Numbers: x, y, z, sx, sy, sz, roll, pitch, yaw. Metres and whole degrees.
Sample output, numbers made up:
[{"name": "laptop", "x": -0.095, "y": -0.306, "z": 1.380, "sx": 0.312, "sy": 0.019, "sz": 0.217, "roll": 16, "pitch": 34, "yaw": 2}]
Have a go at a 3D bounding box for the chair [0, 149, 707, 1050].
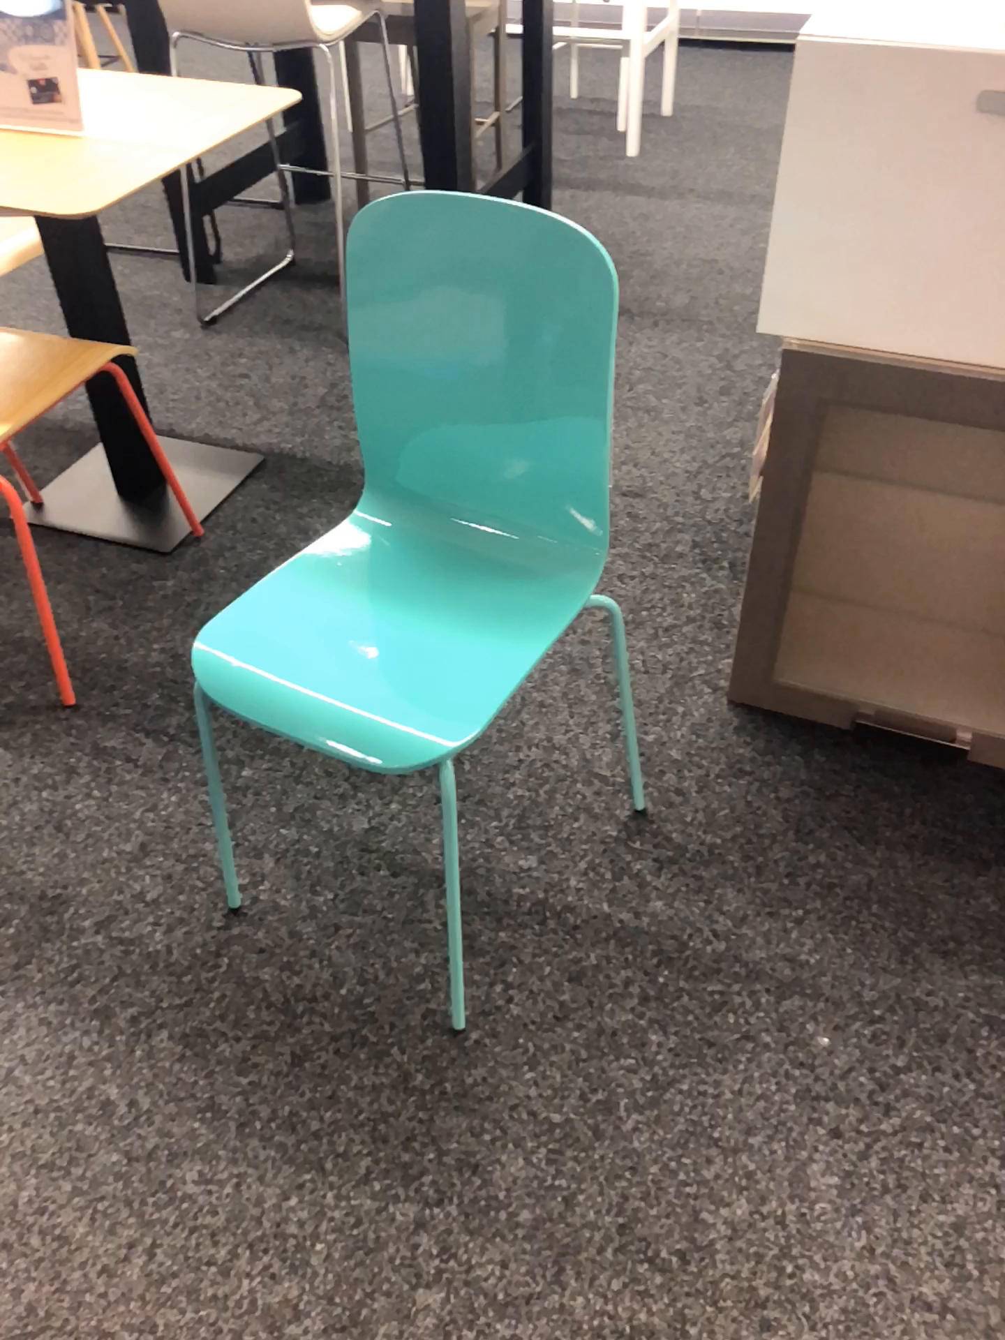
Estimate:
[{"name": "chair", "x": -0.120, "y": -0.075, "z": 1.338, "sx": 0.490, "sy": 0.865, "sz": 0.503, "roll": 20, "pitch": 46, "yaw": 23}]
